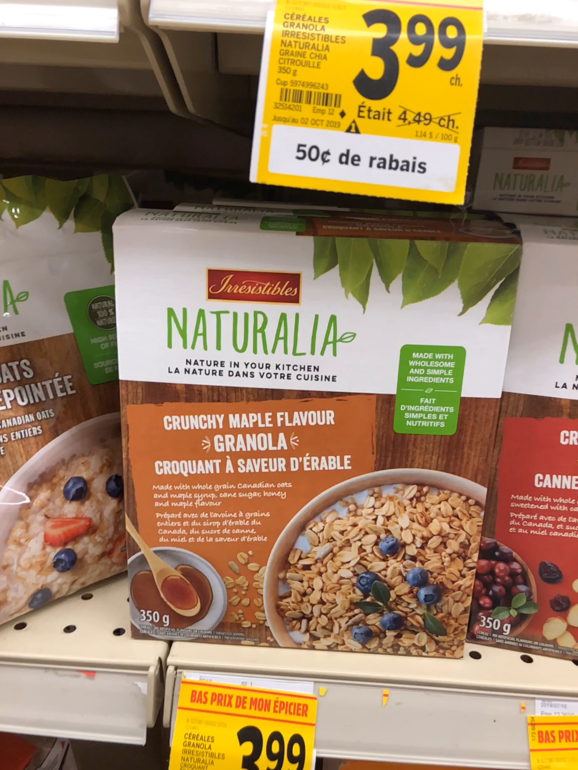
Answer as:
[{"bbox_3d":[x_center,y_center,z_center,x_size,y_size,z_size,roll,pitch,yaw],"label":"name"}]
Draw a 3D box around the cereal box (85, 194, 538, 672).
[{"bbox_3d":[0.004,0.025,0.298,0.170,0.209,0.050,3,19,2],"label":"cereal box"}]
